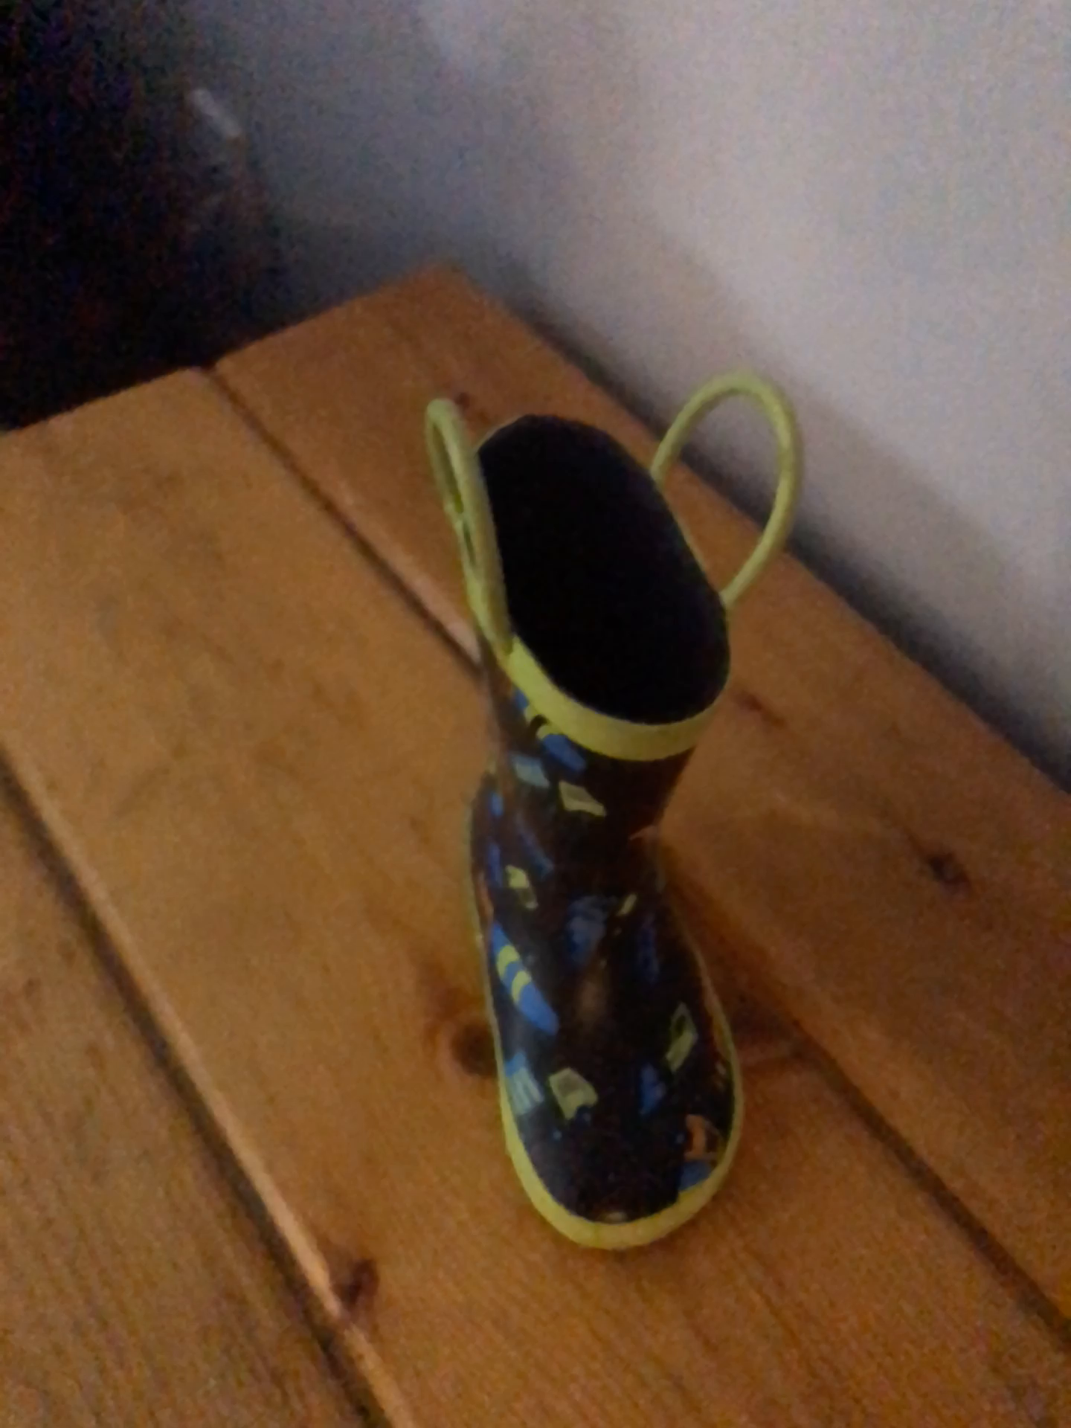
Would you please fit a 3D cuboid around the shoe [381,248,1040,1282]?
[{"bbox_3d":[0.018,0.024,0.304,0.080,0.200,0.170,-8,54,-8],"label":"shoe"}]
